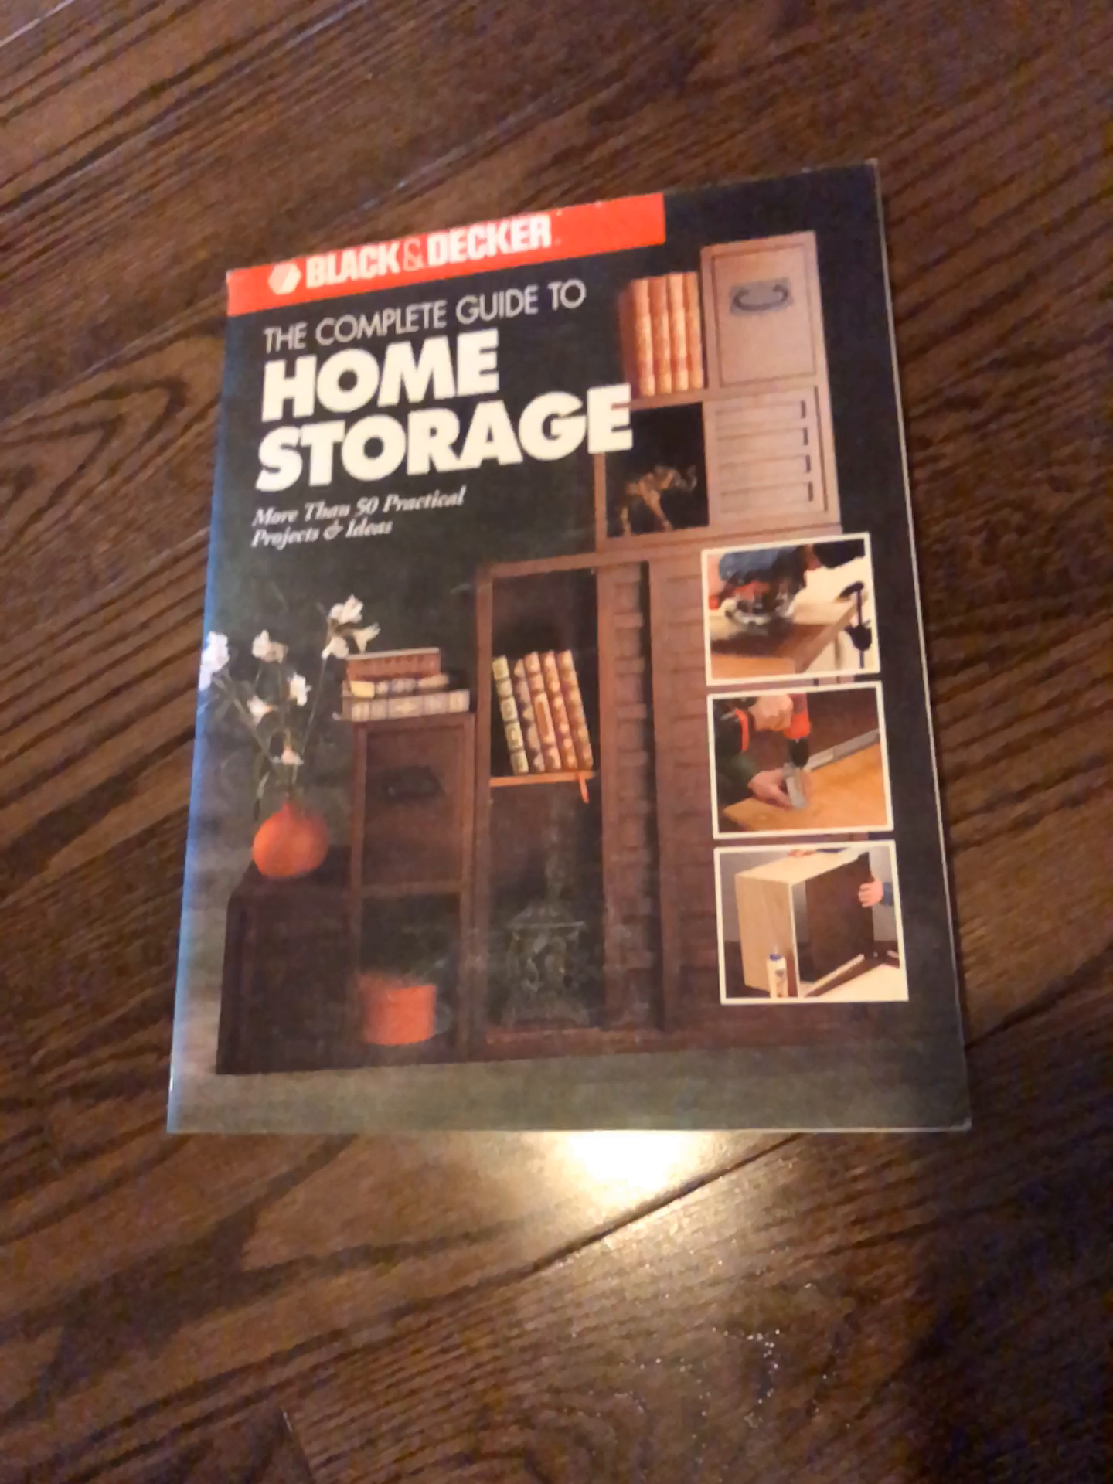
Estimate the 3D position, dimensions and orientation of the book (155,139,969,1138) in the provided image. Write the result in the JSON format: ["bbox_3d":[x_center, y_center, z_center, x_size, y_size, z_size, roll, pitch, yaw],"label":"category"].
[{"bbox_3d":[-0.006,-0.034,0.369,0.215,0.020,0.287,-4,74,12],"label":"book"}]
